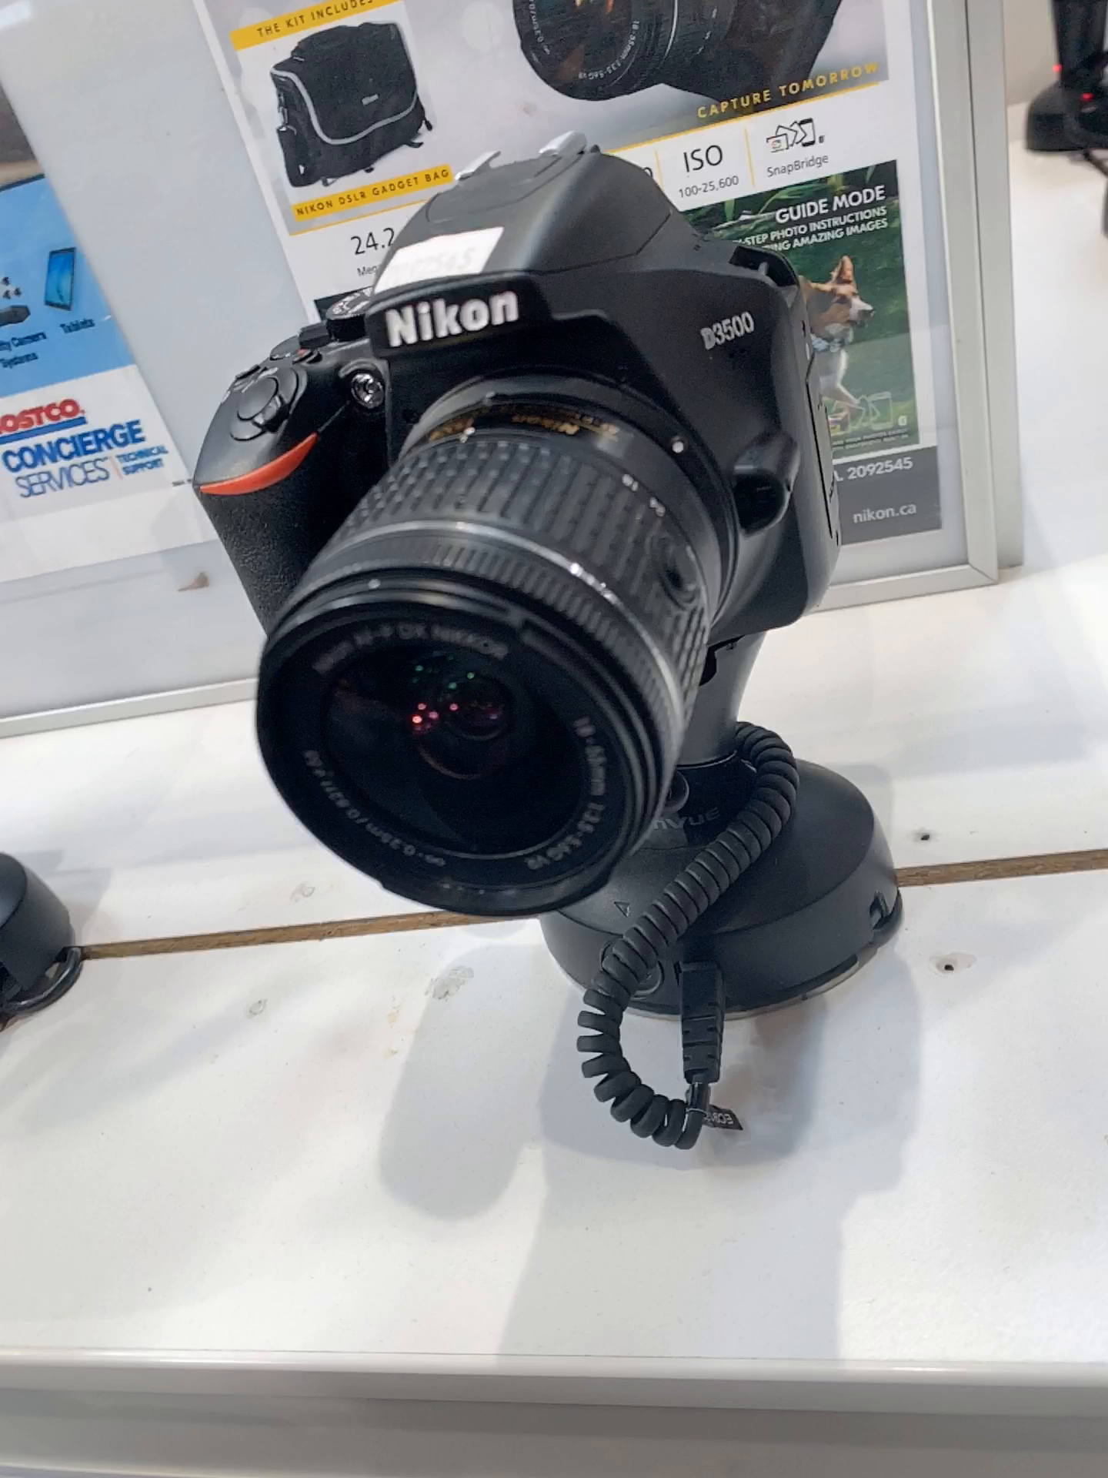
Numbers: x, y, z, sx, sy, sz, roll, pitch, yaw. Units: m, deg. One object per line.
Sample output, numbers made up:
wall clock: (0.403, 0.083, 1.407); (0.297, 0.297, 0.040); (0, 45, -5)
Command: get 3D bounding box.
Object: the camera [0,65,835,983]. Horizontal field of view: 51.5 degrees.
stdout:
camera: (-0.017, -0.039, 0.203); (0.116, 0.099, 0.121); (-6, 35, 19)
